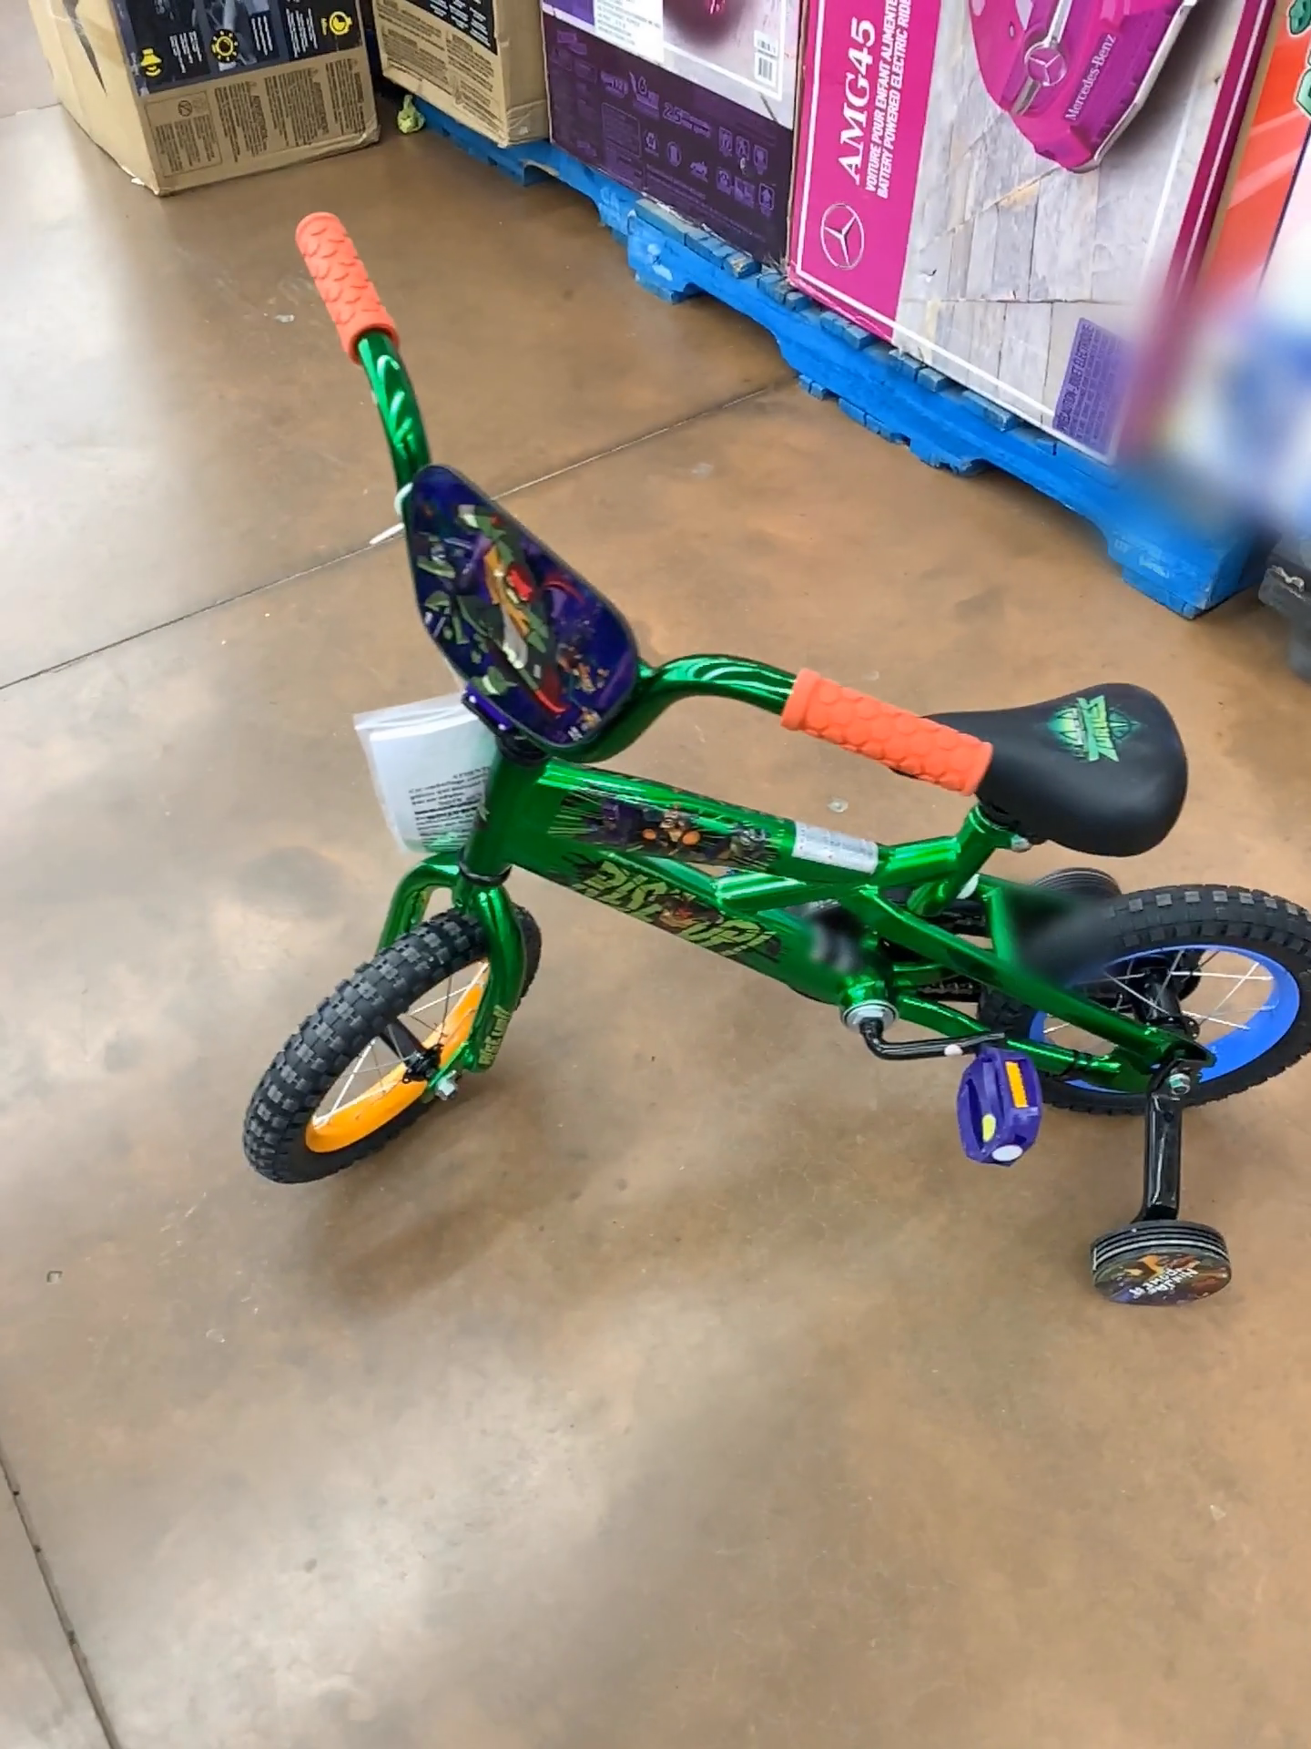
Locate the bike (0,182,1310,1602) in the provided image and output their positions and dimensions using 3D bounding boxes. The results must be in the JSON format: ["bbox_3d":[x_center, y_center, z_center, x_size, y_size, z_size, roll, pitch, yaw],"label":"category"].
[{"bbox_3d":[0.123,0.030,0.856,0.829,0.677,0.533,-3,48,-3],"label":"bike"}]
